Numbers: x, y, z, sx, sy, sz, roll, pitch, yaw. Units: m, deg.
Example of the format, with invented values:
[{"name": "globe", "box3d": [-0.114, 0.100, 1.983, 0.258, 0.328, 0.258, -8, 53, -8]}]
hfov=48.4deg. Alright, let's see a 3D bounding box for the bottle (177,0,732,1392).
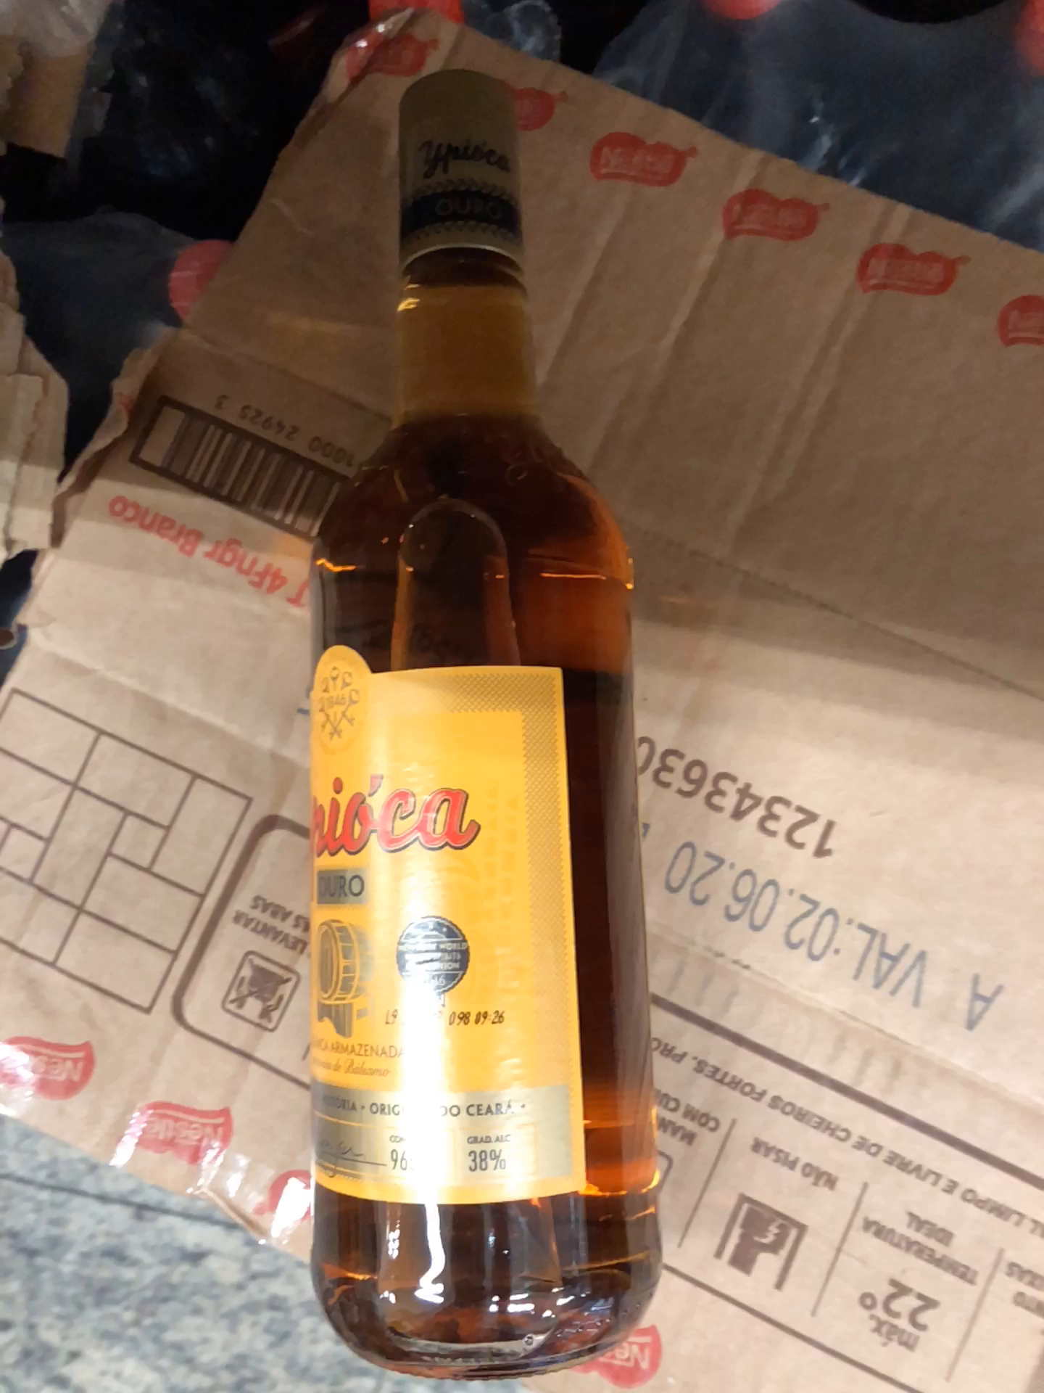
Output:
[{"name": "bottle", "box3d": [-0.020, -0.018, 0.269, 0.090, 0.080, 0.310, 4, 81, -35]}]
